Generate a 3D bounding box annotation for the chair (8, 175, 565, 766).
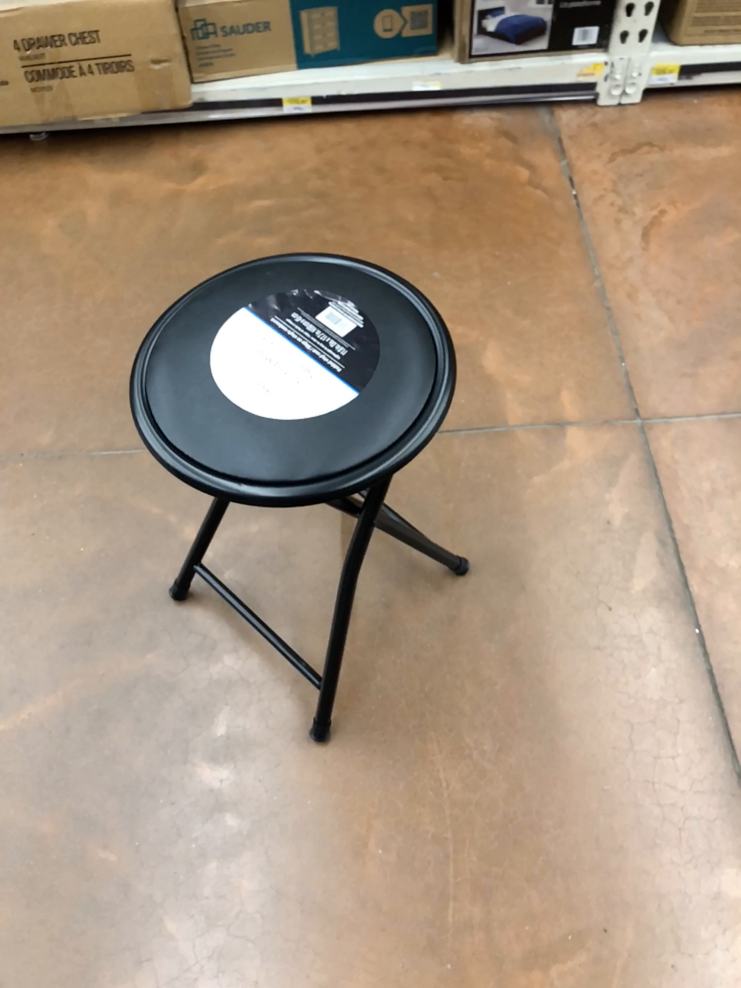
[{"bbox_3d":[-0.059,-0.011,0.842,0.320,0.399,0.330,36,65,24],"label":"chair"}]
